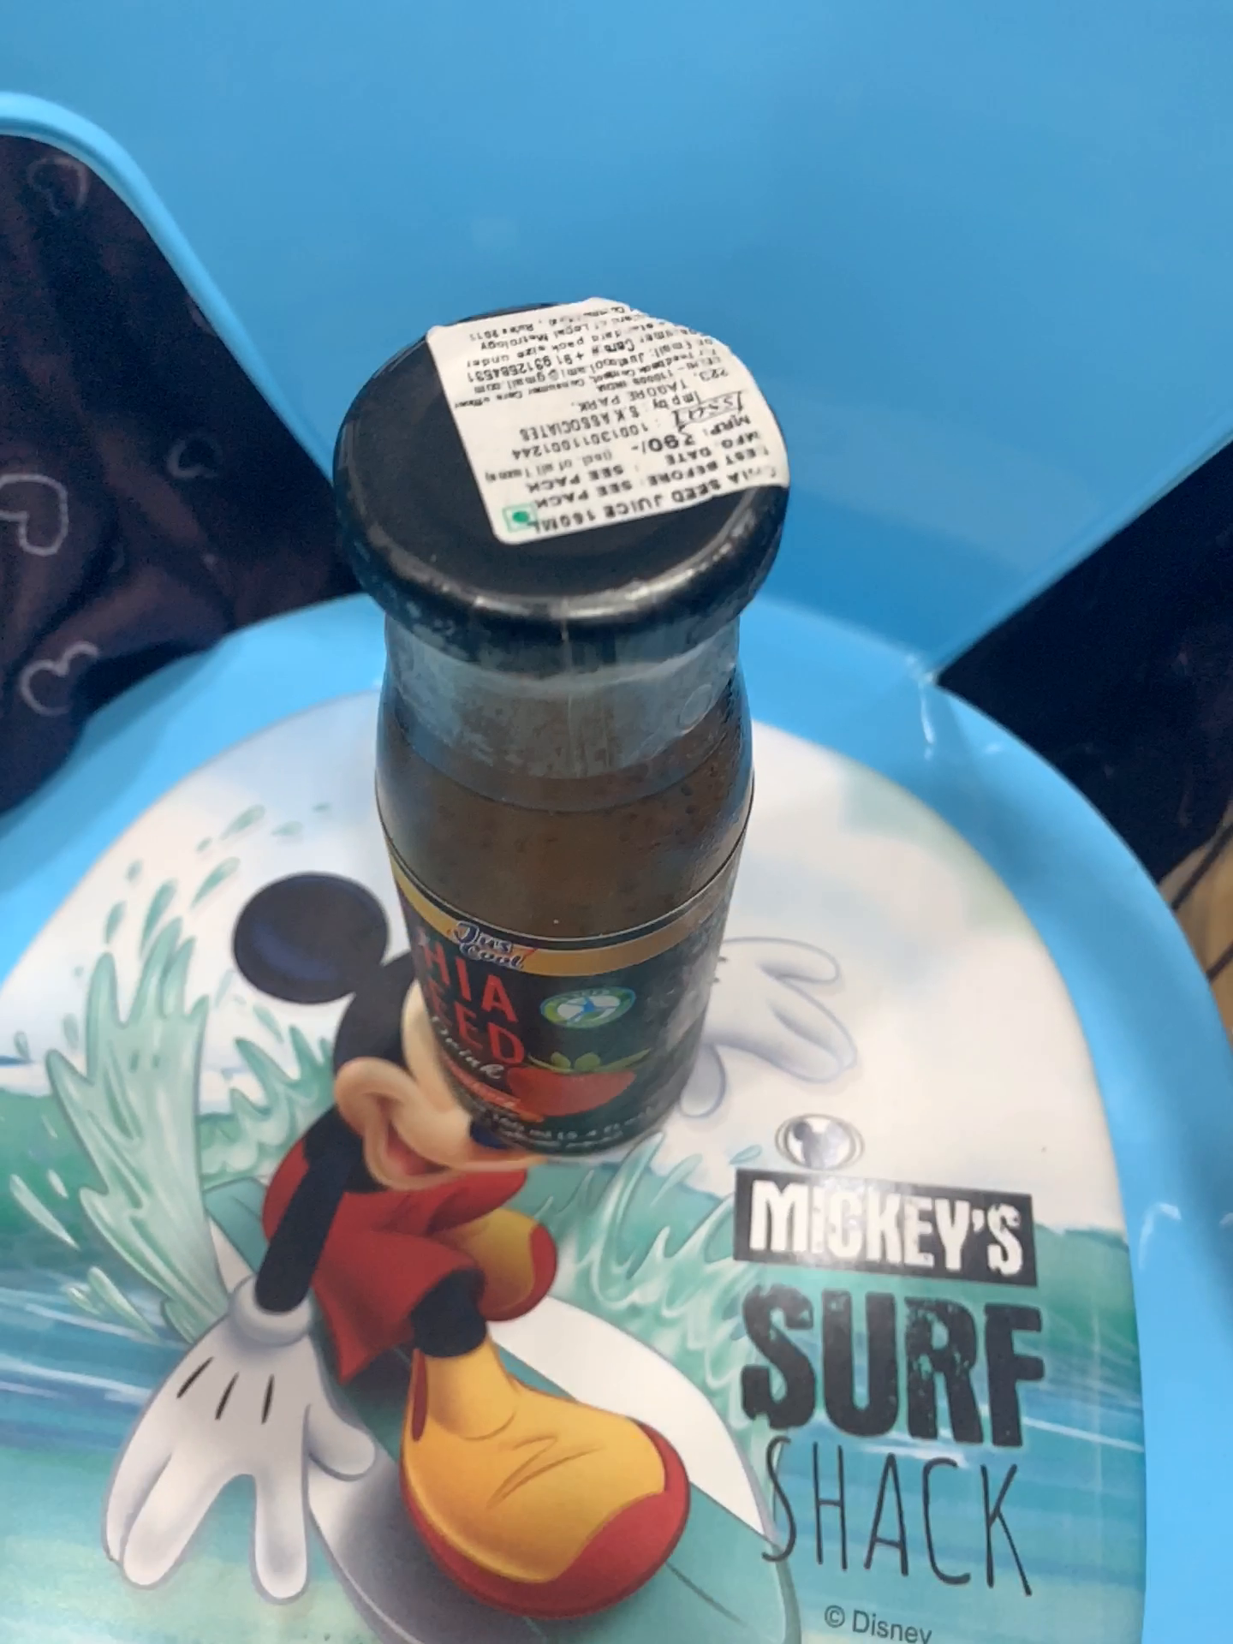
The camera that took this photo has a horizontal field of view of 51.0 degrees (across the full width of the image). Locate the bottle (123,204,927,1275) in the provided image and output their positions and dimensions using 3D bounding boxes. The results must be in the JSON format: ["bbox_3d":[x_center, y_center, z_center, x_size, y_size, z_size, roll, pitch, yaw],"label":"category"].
[{"bbox_3d":[-0.009,0.003,0.166,0.050,0.130,0.050,1,54,-2],"label":"bottle"}]
